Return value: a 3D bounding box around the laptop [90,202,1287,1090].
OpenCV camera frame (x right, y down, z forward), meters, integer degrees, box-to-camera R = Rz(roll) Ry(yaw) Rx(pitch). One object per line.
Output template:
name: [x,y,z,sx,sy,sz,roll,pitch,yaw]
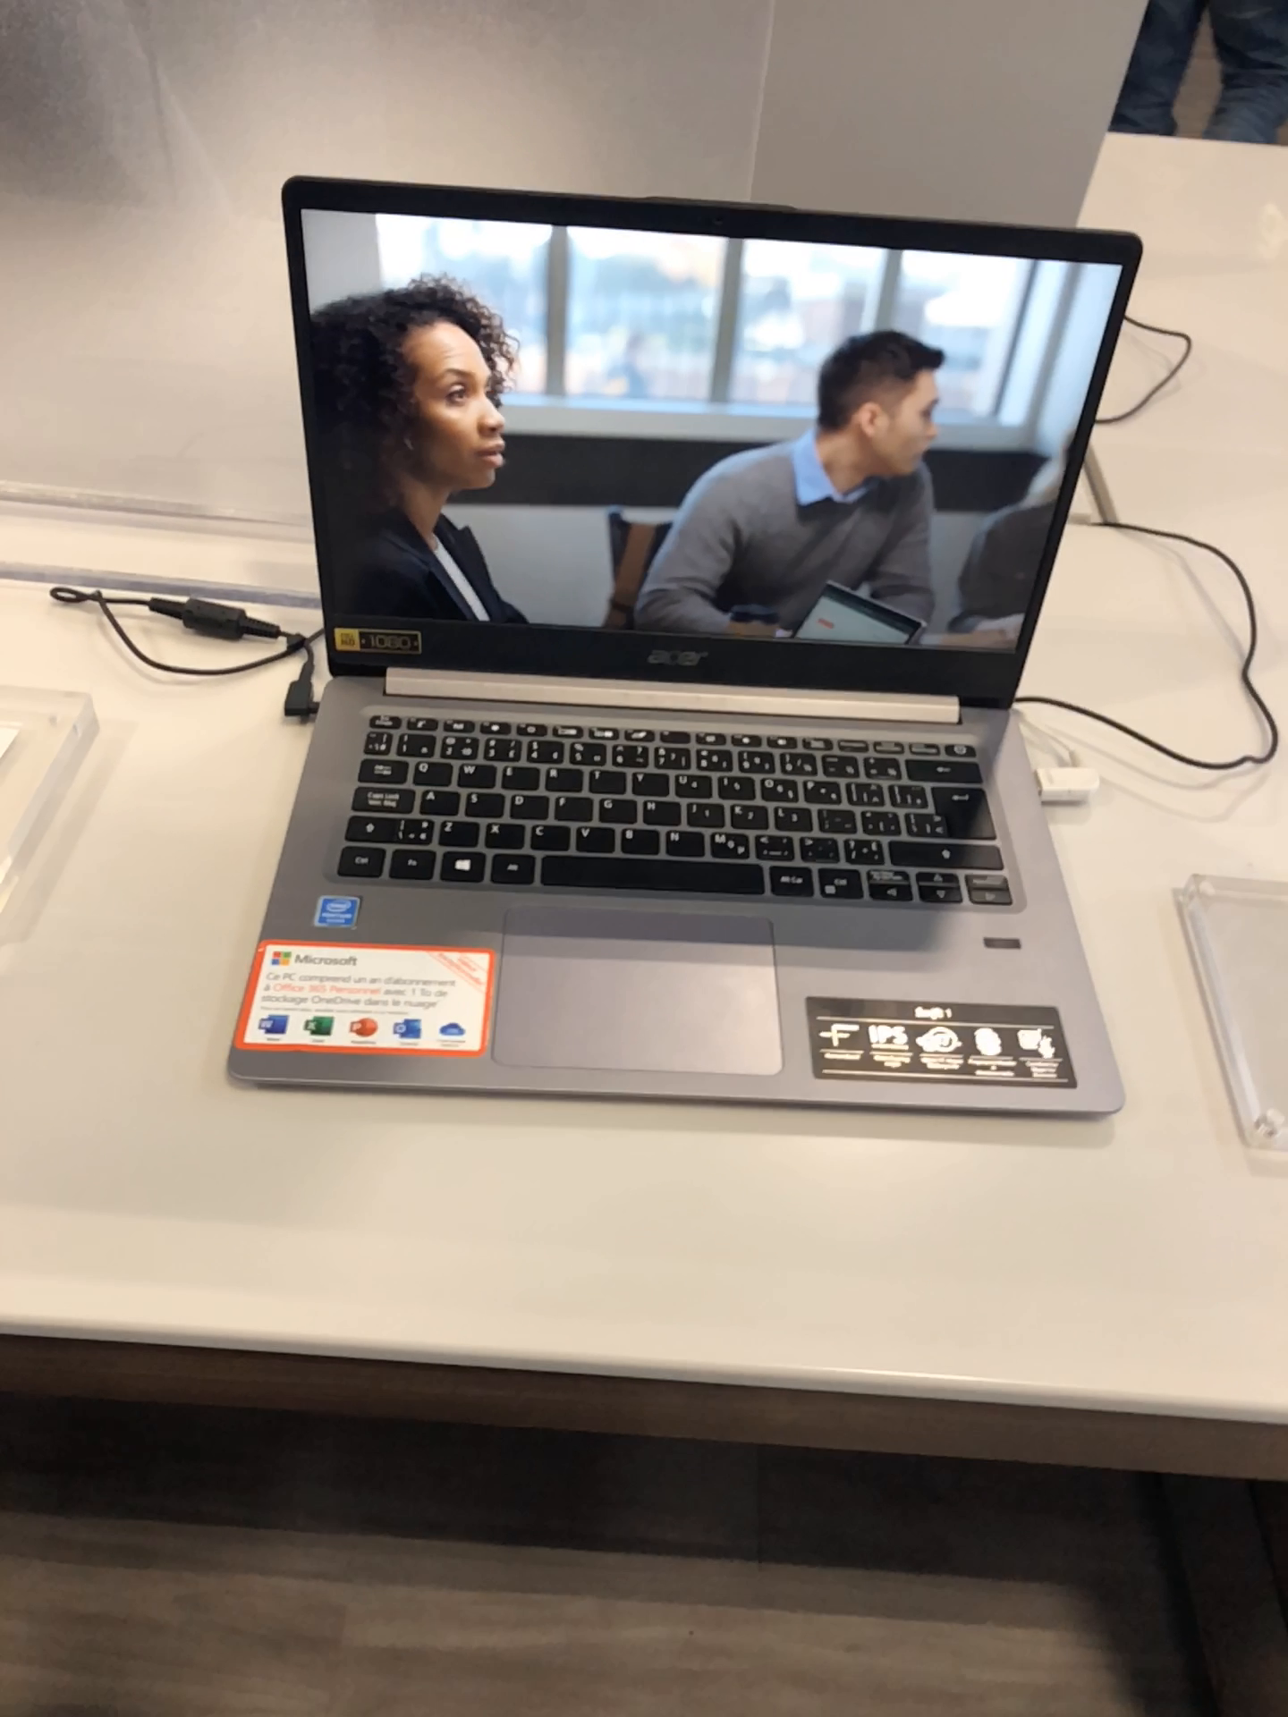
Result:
laptop: [0.013,-0.075,0.508,0.306,0.205,0.225,2,45,-3]
